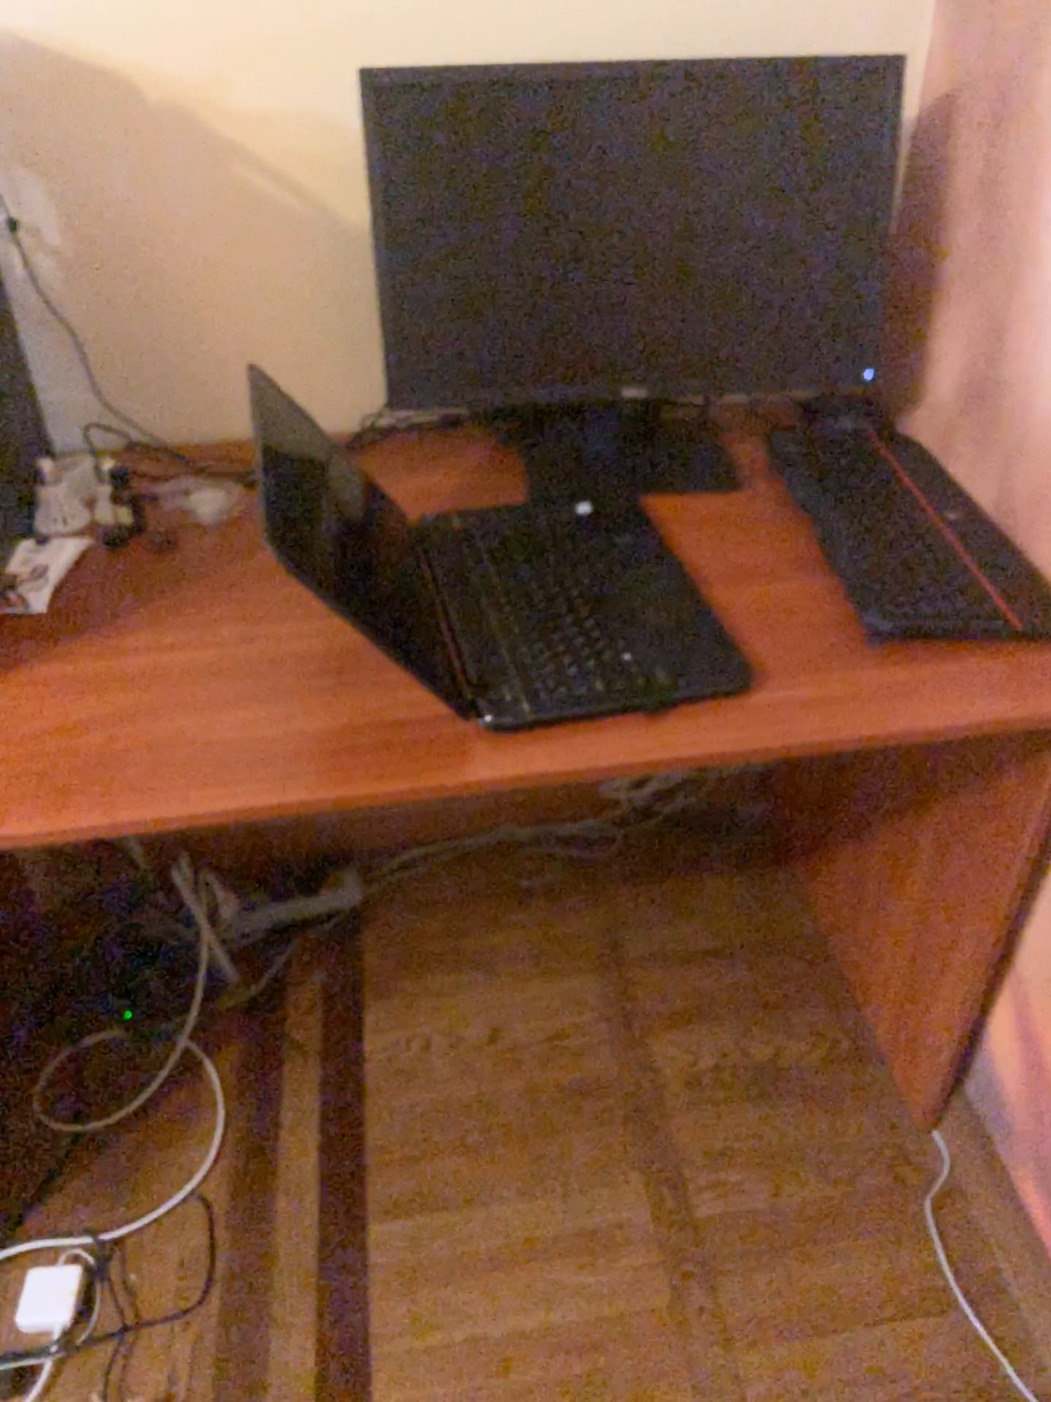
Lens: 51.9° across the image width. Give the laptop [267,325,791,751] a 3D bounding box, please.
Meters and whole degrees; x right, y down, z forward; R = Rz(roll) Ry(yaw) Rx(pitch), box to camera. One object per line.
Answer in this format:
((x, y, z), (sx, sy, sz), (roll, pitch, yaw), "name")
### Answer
((-0.025, -0.169, 0.970), (0.368, 0.181, 0.368), (-9, 38, -8), "laptop")
